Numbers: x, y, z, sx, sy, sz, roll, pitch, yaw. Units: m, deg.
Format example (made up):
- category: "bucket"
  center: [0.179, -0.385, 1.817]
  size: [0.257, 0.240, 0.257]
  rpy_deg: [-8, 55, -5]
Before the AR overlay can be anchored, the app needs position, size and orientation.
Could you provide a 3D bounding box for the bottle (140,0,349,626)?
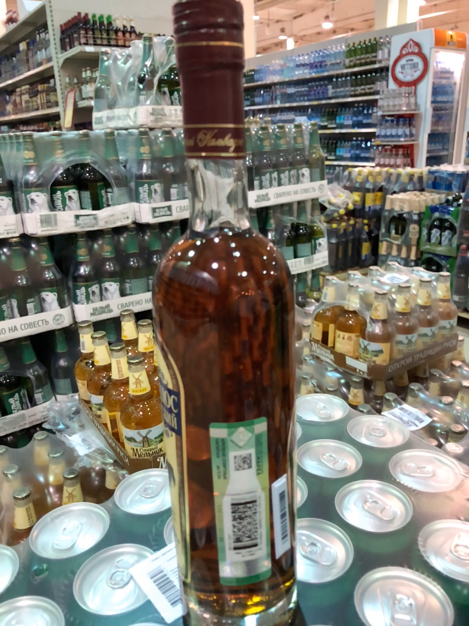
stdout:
- category: "bottle"
  center: [0.004, 0.020, 0.250]
  size: [0.070, 0.298, 0.070]
  rpy_deg: [-2, 18, 1]
